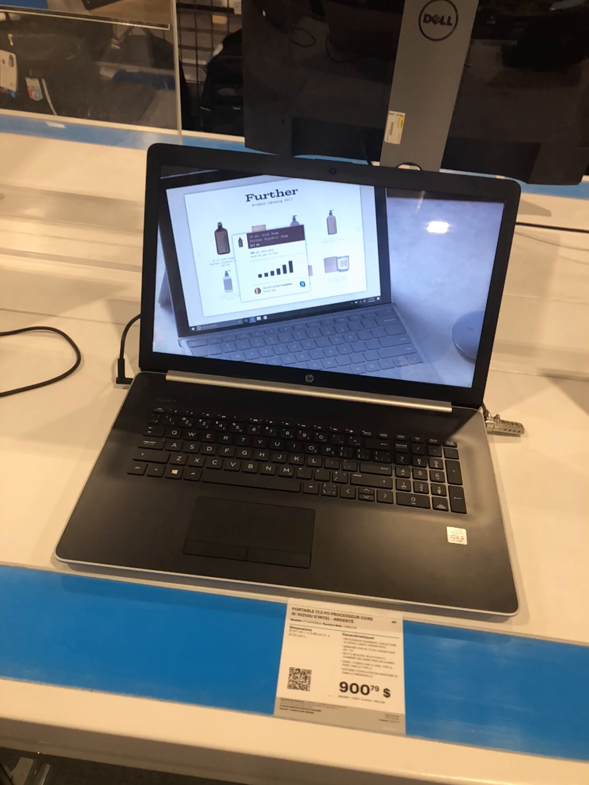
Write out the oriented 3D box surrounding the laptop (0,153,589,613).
[{"bbox_3d":[0.012,-0.039,0.648,0.410,0.242,0.382,6,38,2],"label":"laptop"}]
